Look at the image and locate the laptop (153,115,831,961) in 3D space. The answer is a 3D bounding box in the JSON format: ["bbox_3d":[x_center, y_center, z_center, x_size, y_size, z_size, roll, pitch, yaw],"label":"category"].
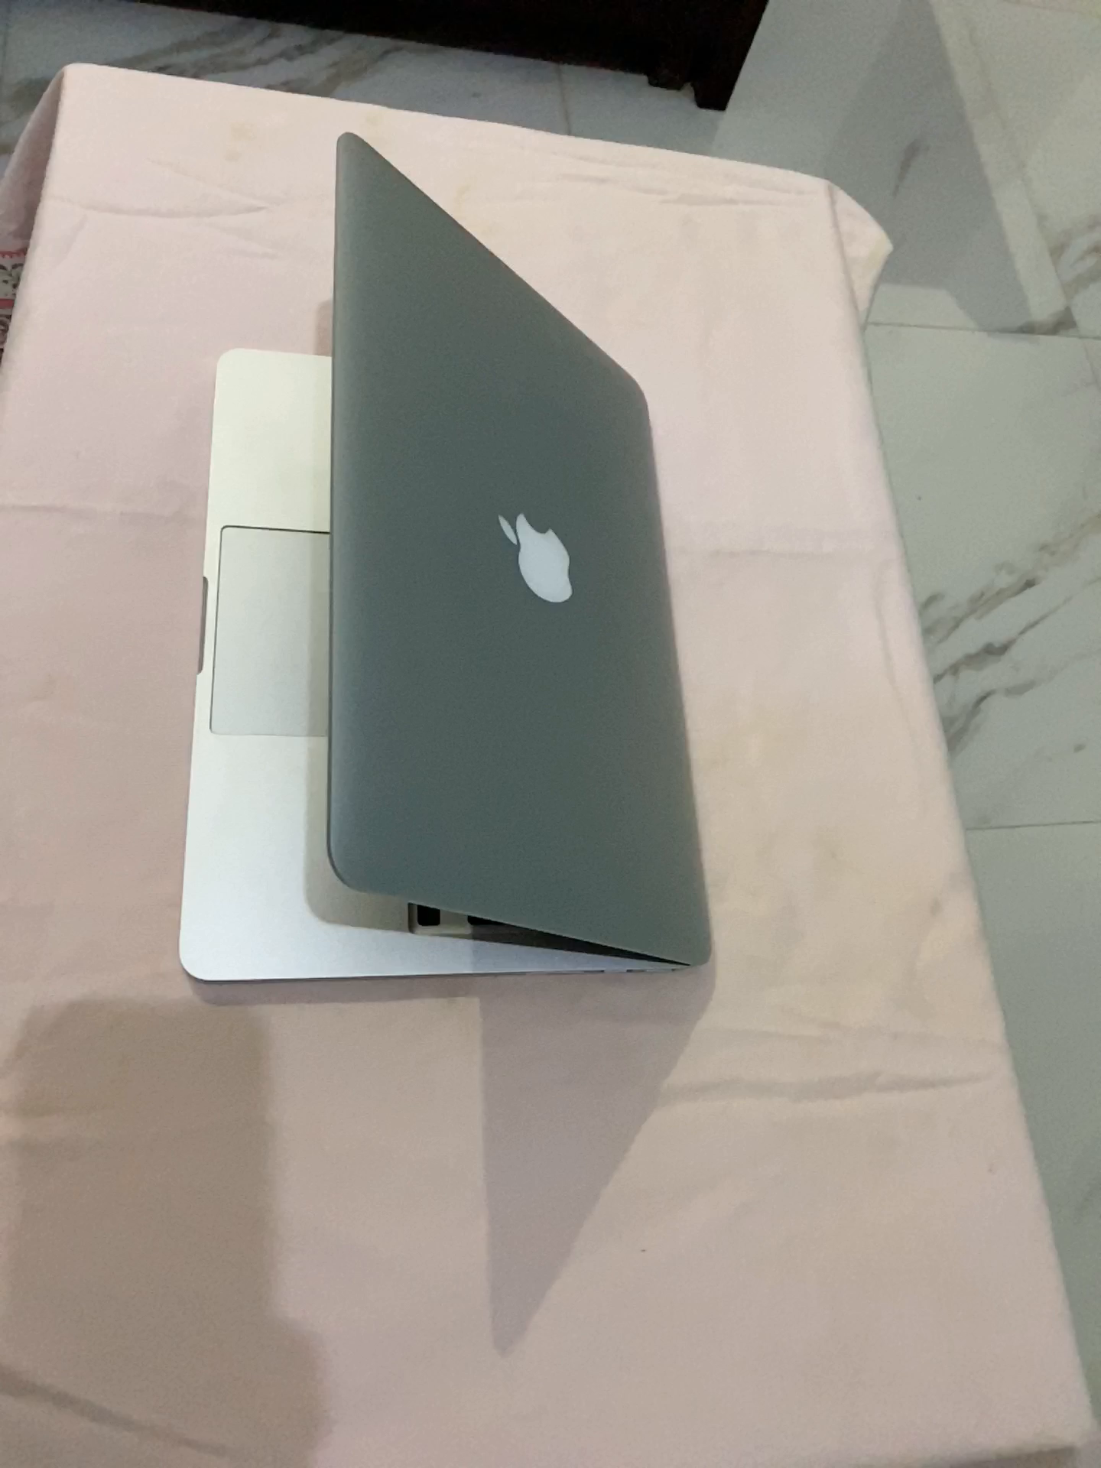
[{"bbox_3d":[-0.037,-0.073,0.460,0.208,0.139,0.296,1,67,-12],"label":"laptop"}]
